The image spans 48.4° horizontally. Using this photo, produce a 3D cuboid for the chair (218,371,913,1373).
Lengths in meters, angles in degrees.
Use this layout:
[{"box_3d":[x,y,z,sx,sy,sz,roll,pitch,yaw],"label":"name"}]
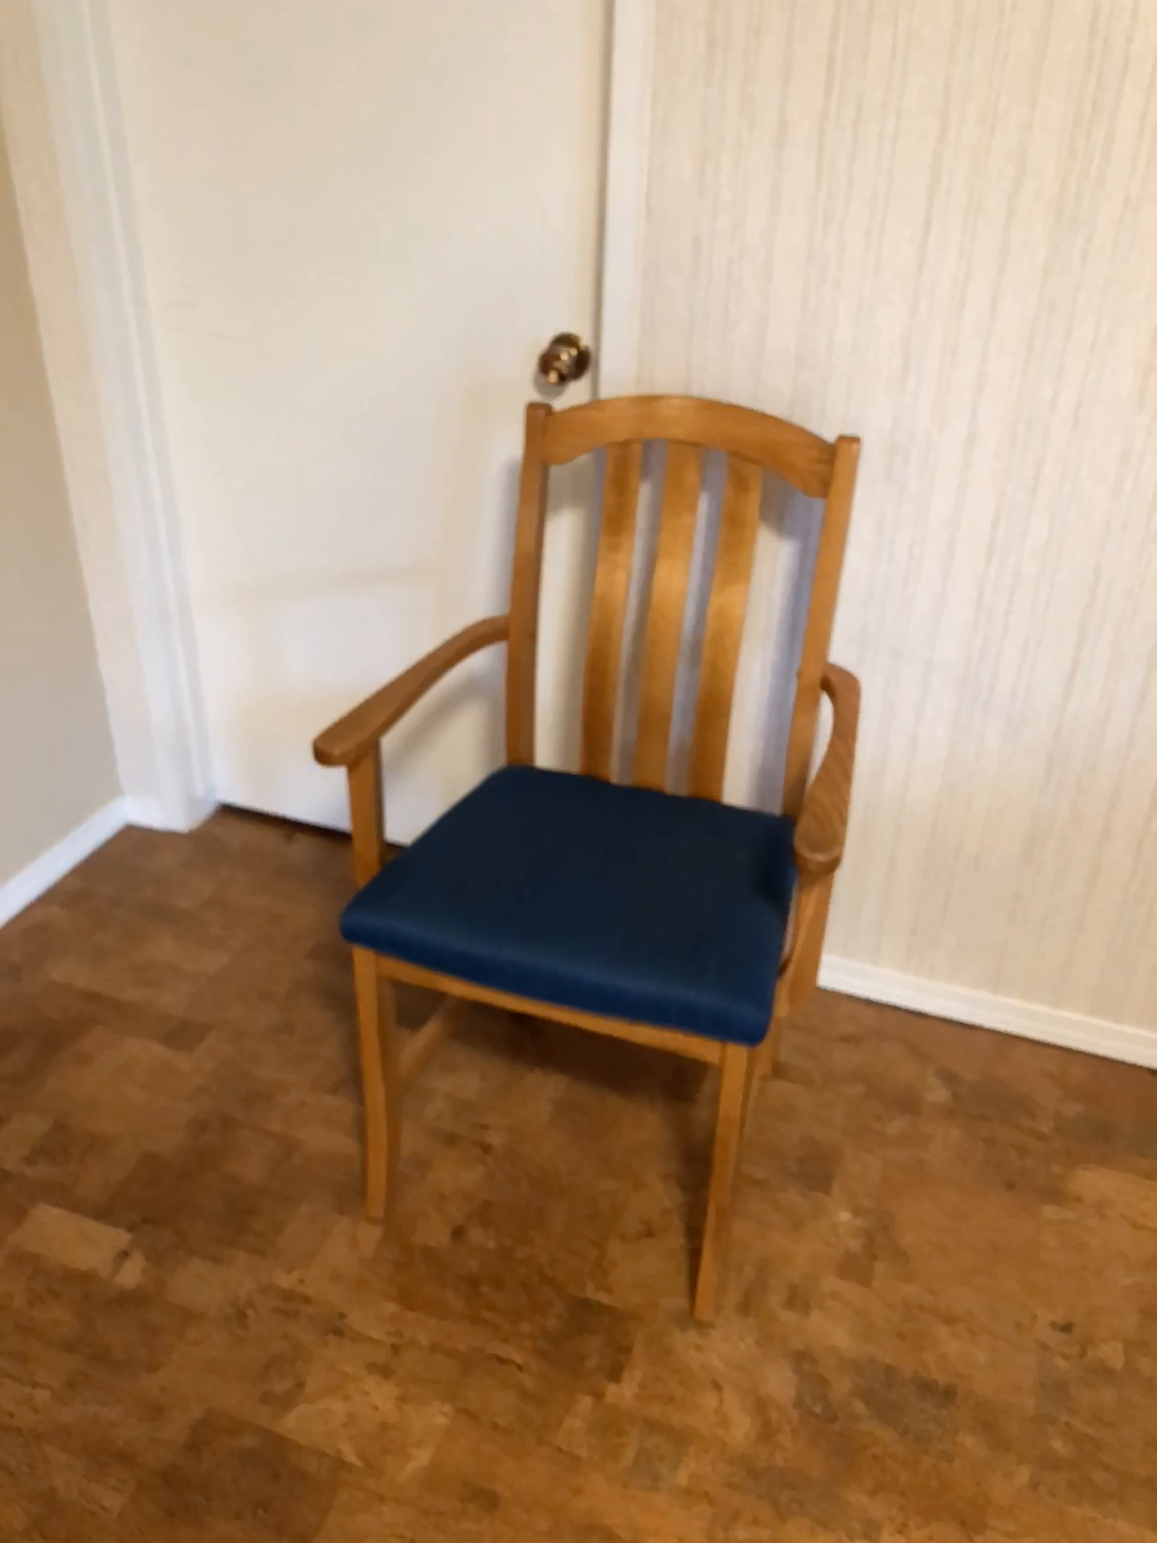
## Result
[{"box_3d":[0.021,0.091,1.541,0.550,0.937,0.592,10,31,14],"label":"chair"}]
